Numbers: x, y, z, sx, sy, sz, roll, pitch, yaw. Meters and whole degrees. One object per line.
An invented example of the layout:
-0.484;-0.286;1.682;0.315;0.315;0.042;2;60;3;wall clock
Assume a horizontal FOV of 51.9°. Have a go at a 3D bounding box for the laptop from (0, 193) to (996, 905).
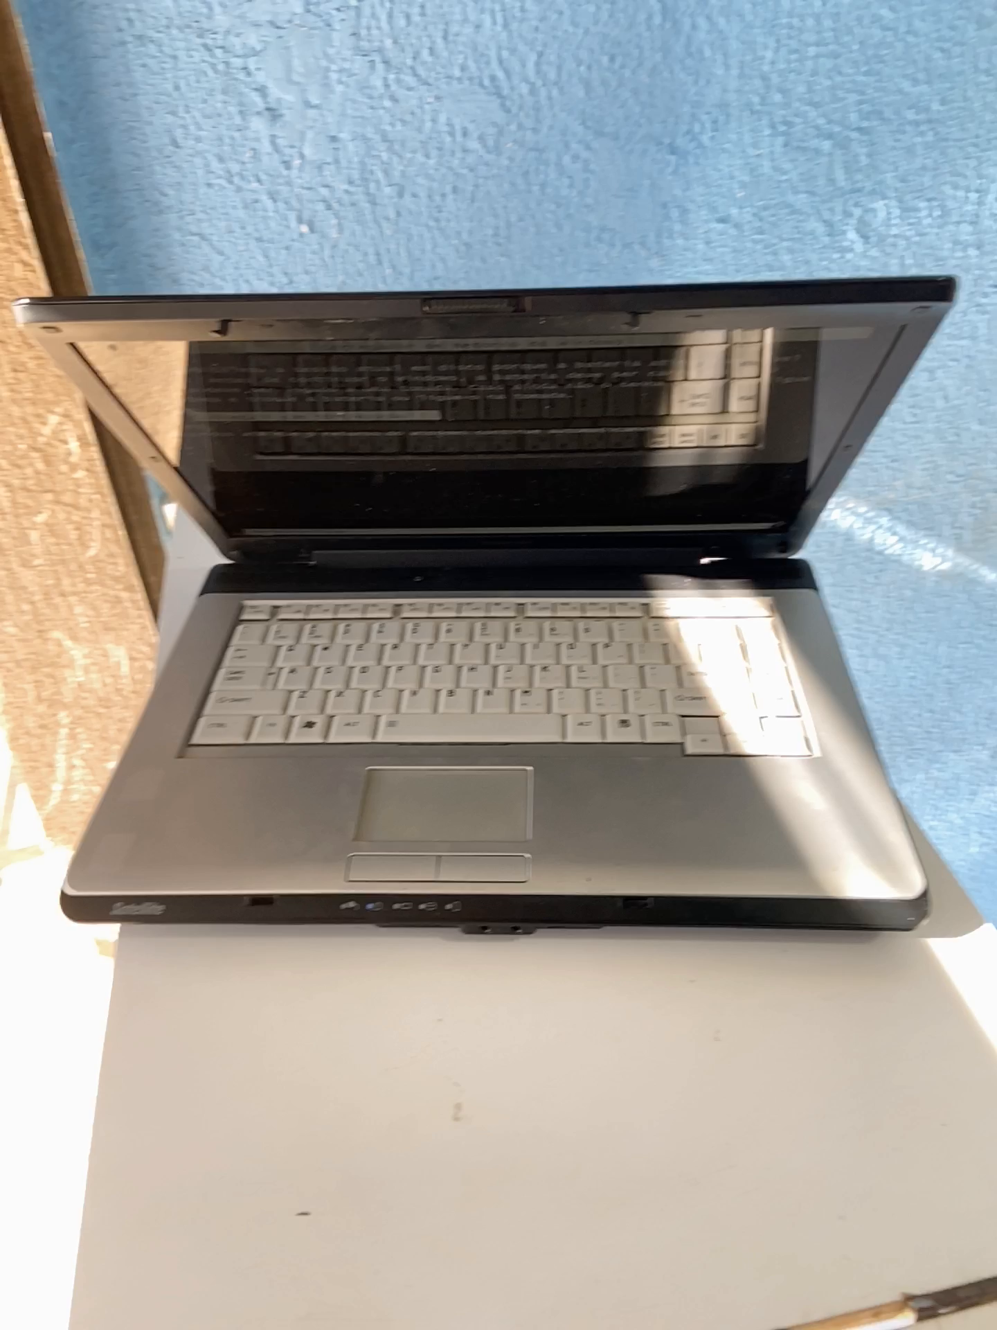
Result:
-0.005;-0.064;0.455;0.351;0.202;0.247;0;38;4;laptop
